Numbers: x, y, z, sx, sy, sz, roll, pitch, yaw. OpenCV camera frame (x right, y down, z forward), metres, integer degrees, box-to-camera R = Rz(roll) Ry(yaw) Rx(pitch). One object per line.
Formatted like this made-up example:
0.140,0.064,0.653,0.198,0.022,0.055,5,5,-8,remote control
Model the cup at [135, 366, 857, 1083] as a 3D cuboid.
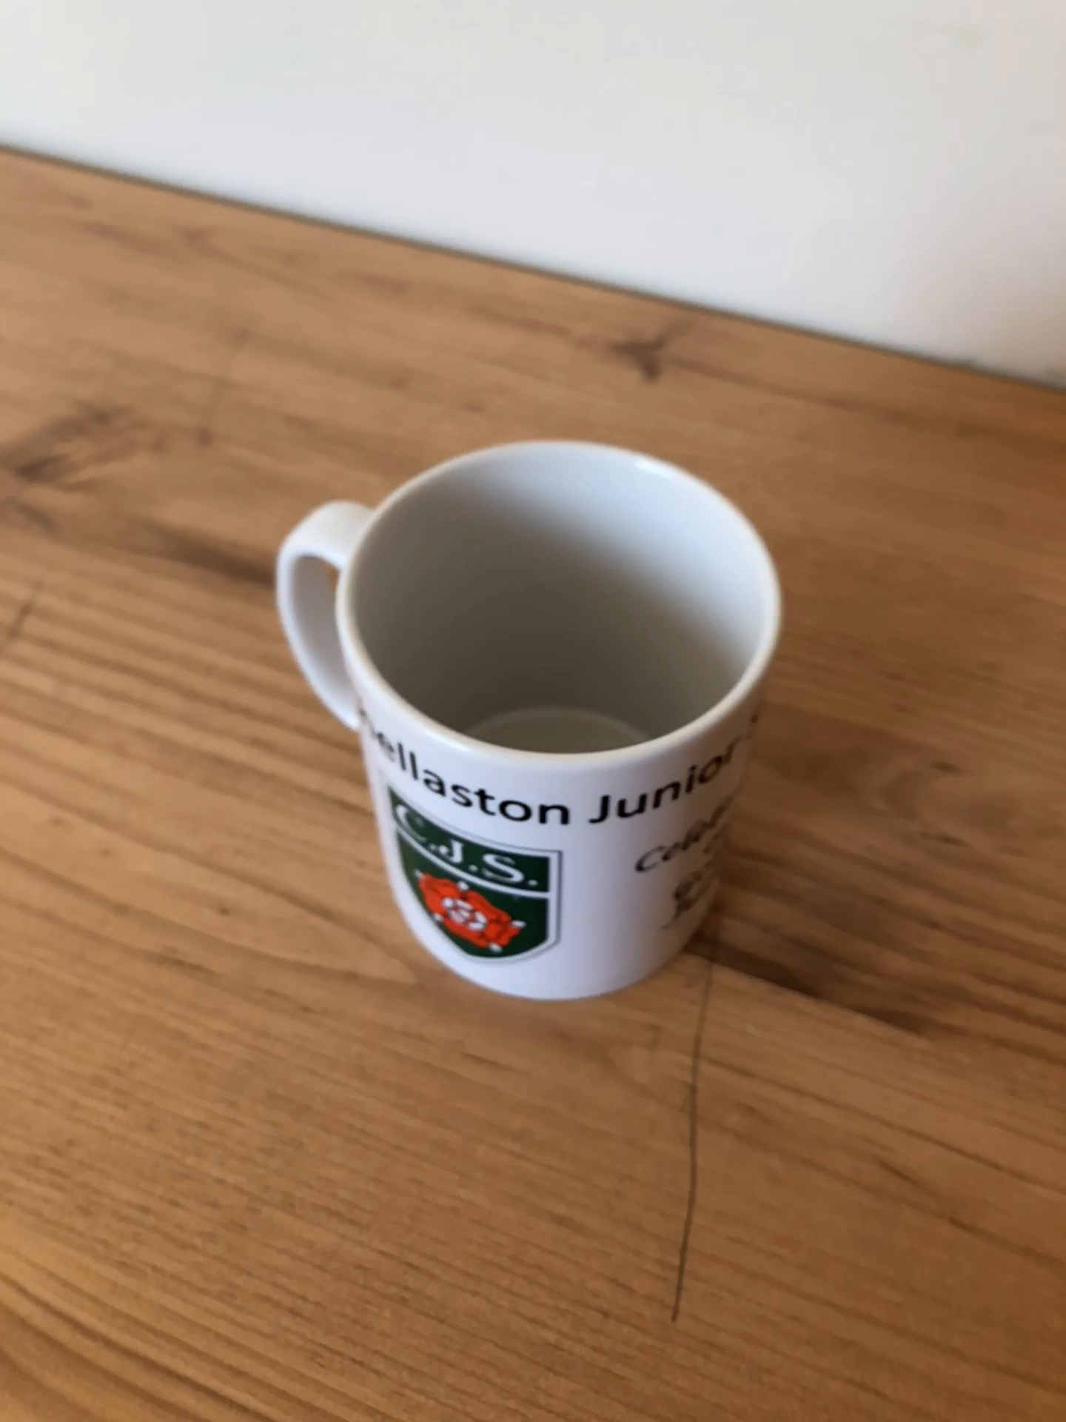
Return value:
-0.004,0.001,0.264,0.110,0.096,0.084,21,53,21,cup
